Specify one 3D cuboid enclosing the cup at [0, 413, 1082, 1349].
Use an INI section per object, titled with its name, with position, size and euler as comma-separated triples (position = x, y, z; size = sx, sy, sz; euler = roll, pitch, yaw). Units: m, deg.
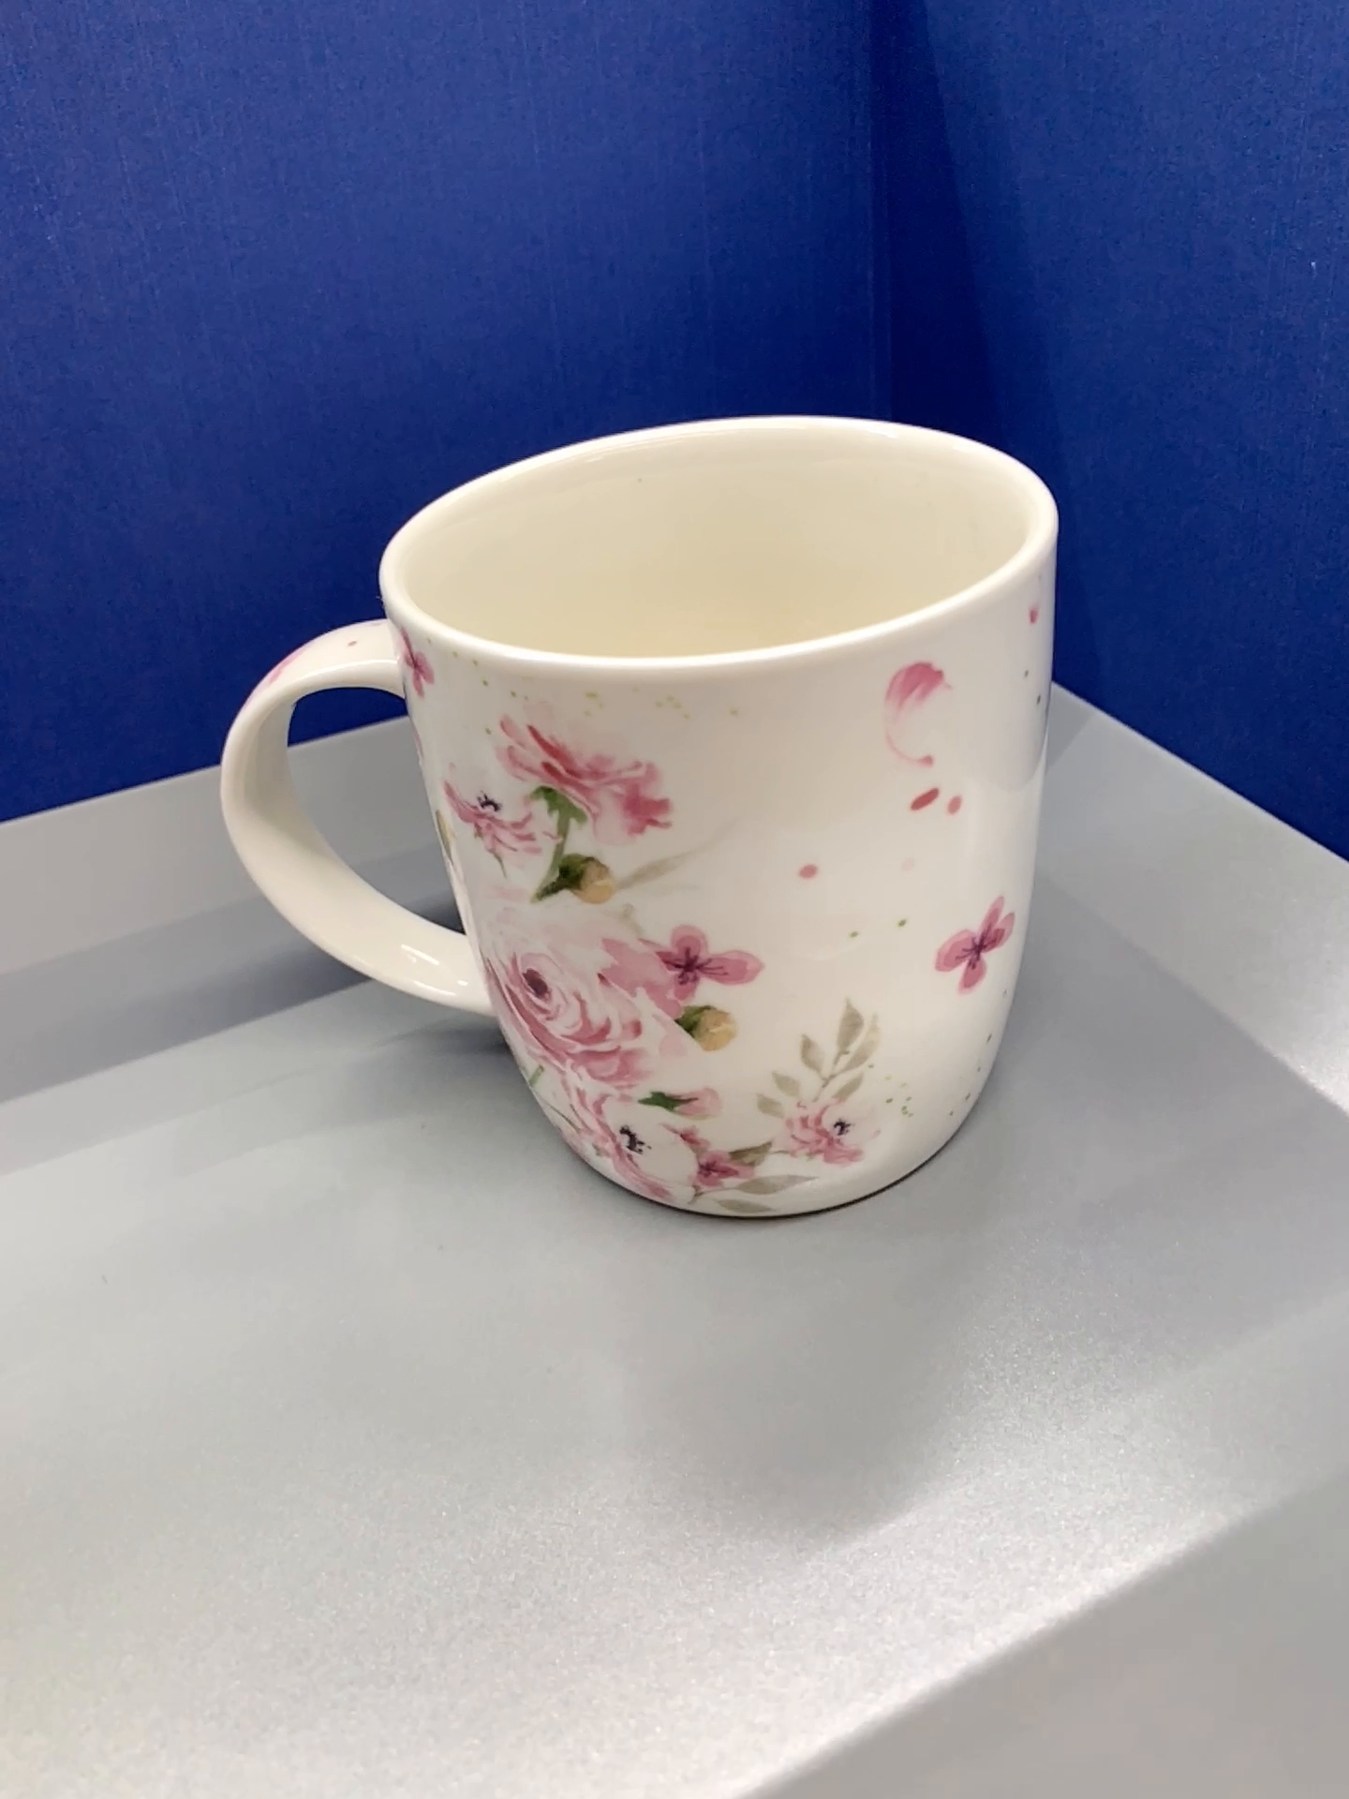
[cup]
position = -0.007, -0.011, 0.194
size = 0.110, 0.087, 0.085
euler = 6, 34, 18
